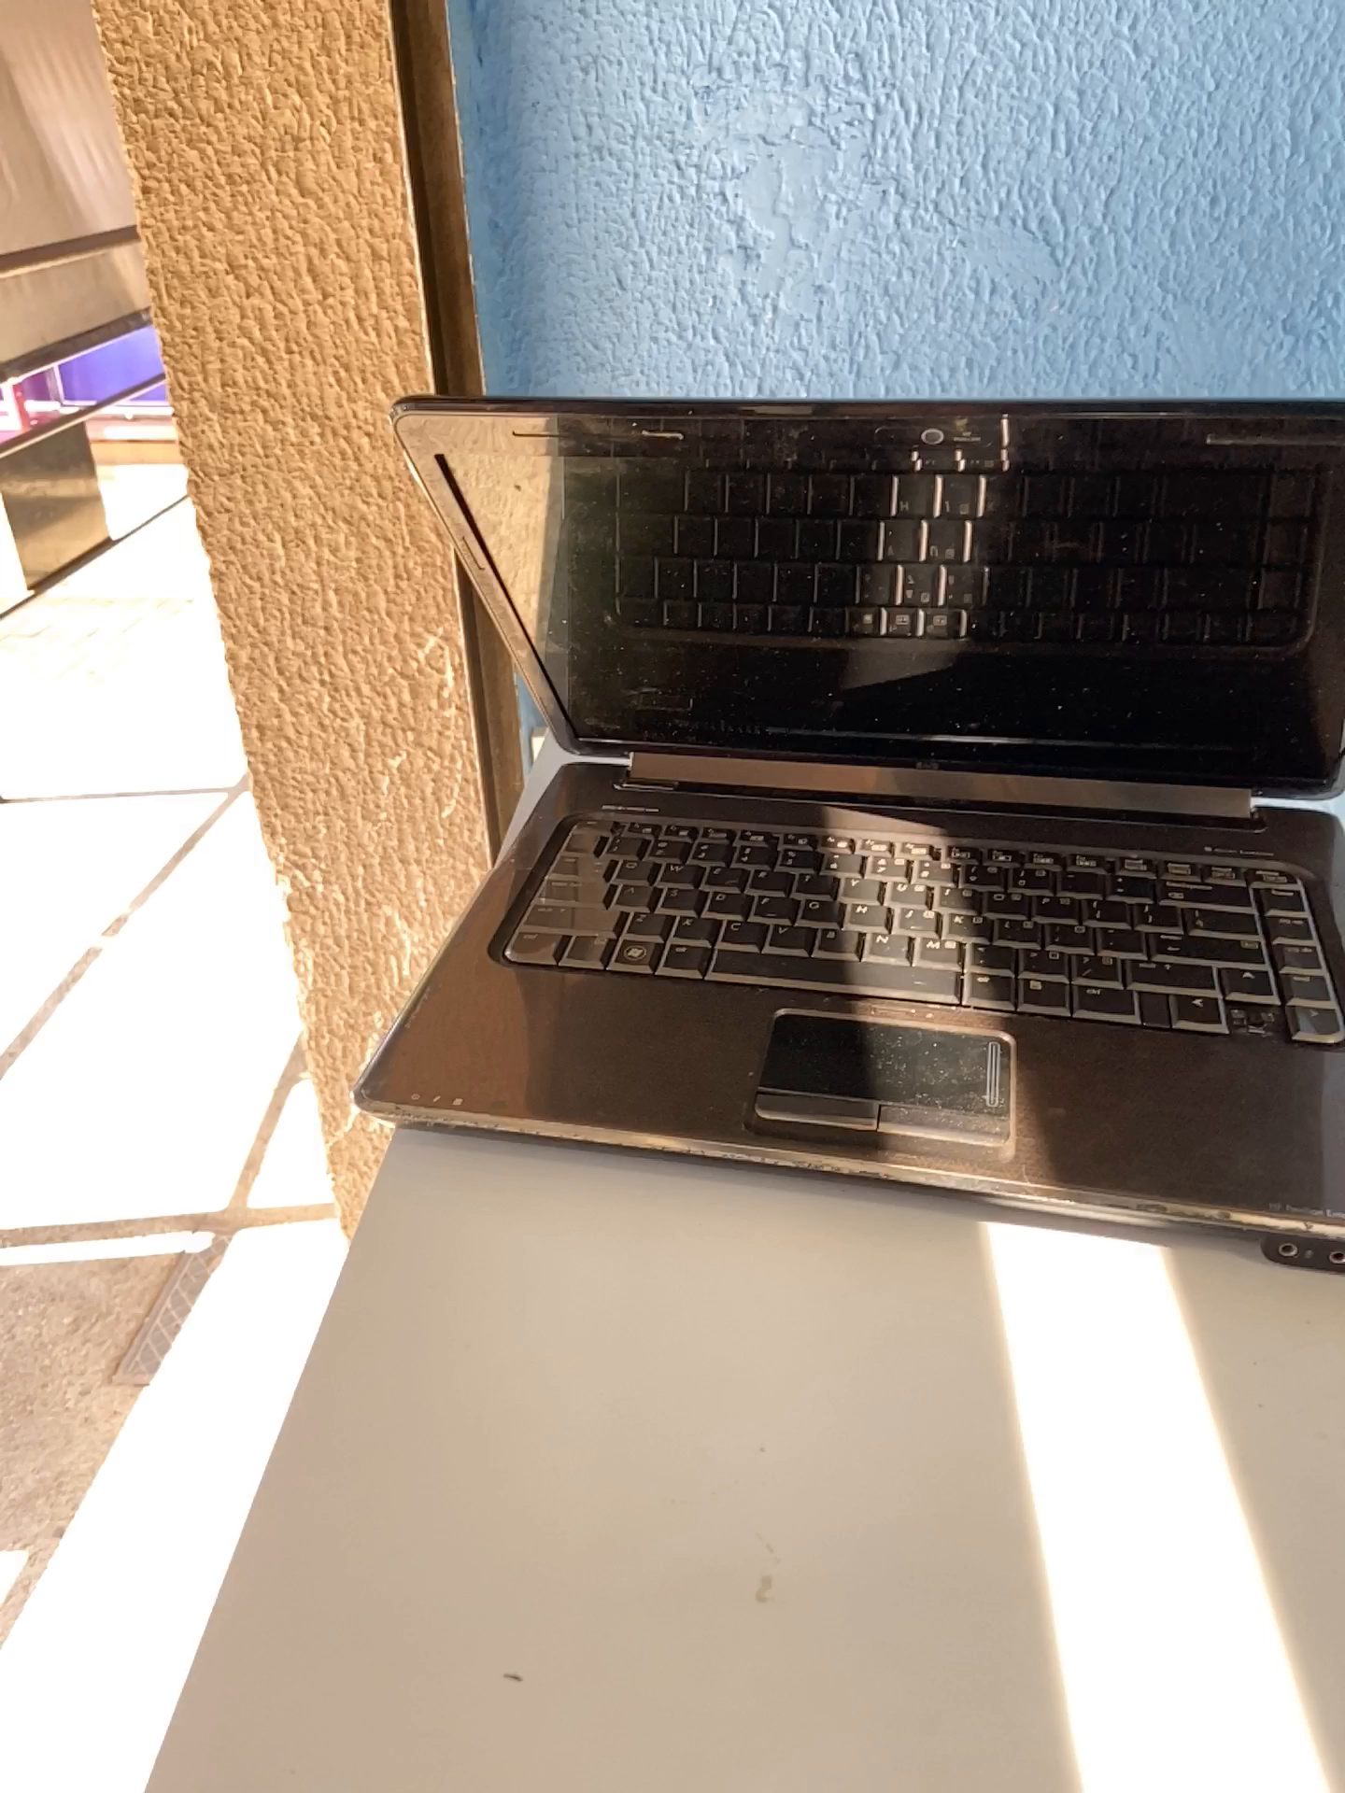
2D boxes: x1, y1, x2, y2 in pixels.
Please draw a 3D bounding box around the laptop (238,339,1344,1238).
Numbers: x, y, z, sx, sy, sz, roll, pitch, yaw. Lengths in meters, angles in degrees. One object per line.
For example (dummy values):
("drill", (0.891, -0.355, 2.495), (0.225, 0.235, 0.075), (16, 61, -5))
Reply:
("laptop", (0.081, -0.065, 0.479), (0.344, 0.190, 0.246), (4, 32, 13))
